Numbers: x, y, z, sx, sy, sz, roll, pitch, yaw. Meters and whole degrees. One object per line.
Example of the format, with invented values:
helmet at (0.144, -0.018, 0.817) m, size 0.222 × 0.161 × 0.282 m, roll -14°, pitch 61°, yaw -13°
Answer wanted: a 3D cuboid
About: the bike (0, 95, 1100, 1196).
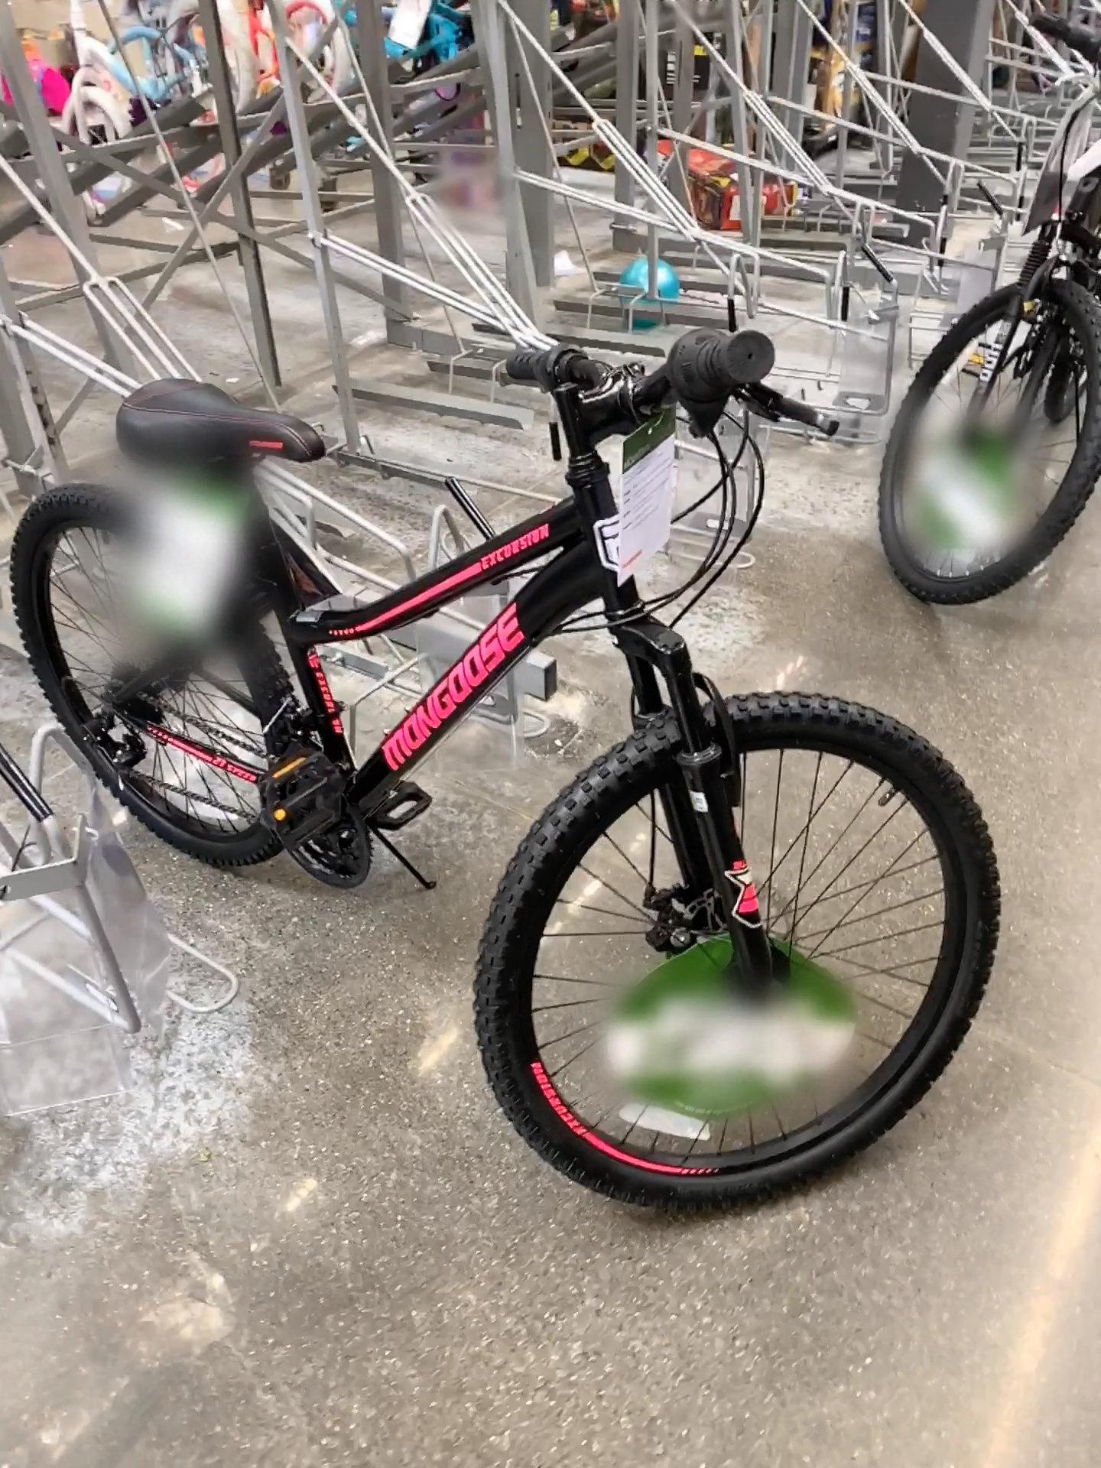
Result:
bike at (-0.174, -0.186, 1.389) m, size 1.401 × 0.963 × 0.642 m, roll 13°, pitch 39°, yaw 21°
